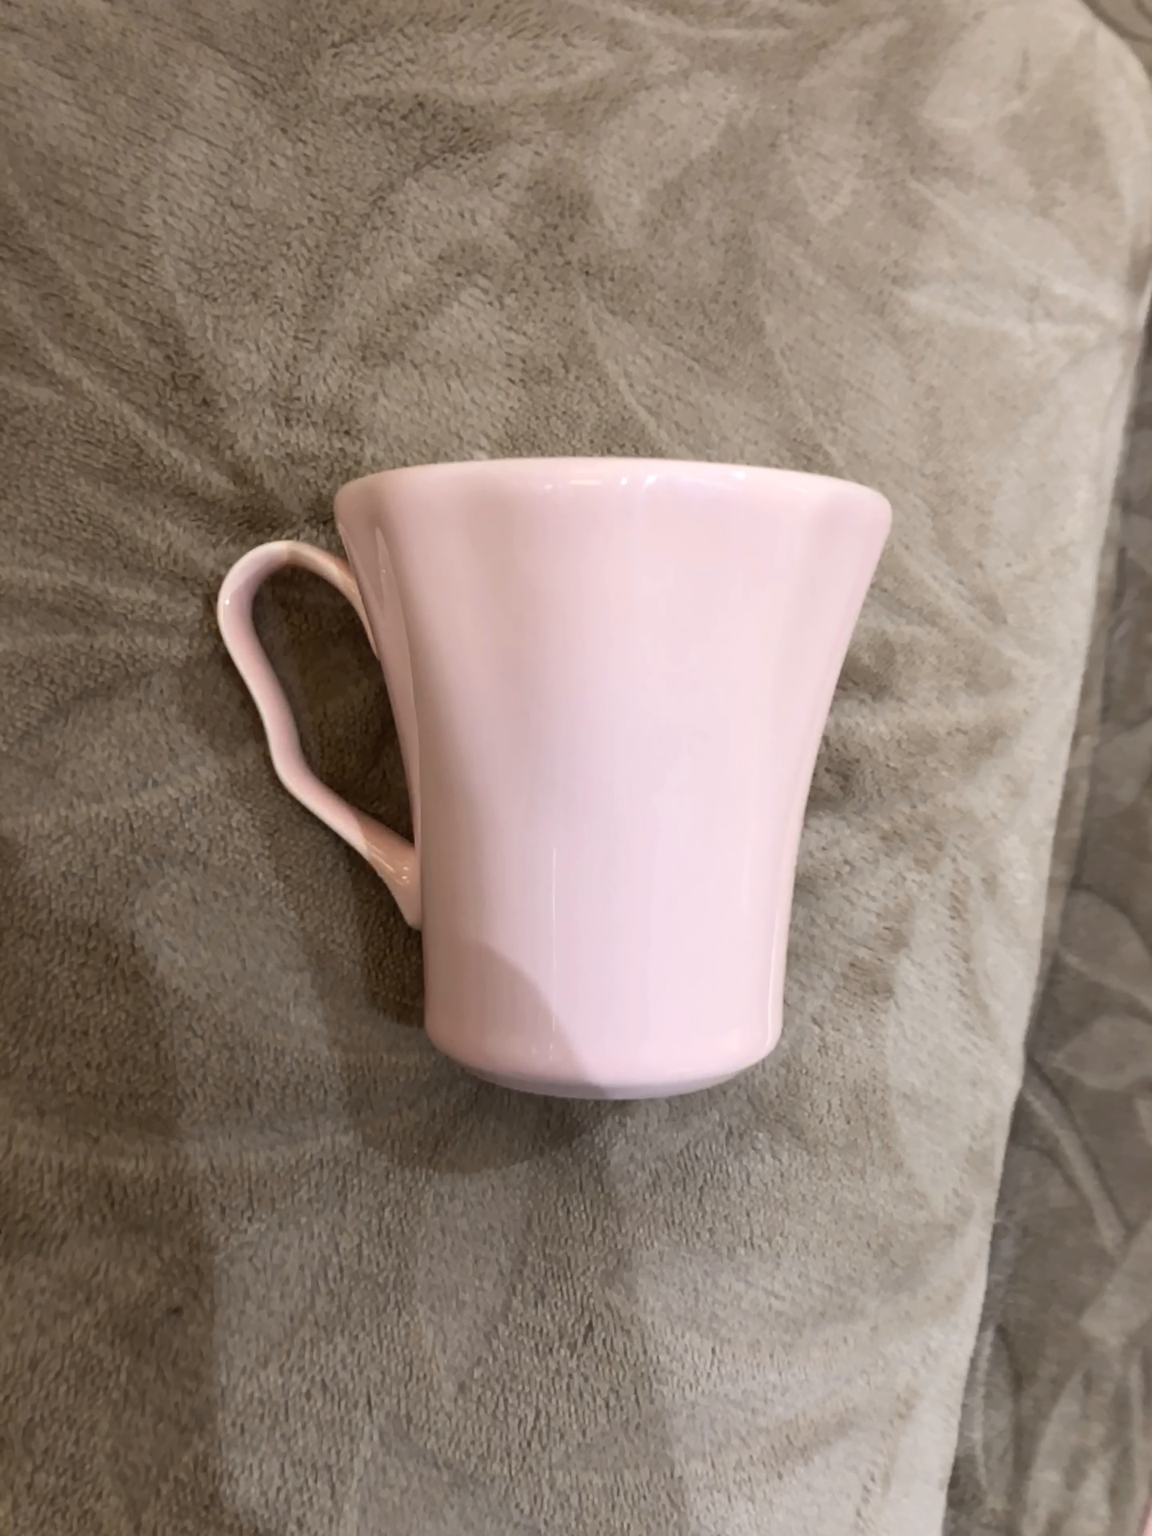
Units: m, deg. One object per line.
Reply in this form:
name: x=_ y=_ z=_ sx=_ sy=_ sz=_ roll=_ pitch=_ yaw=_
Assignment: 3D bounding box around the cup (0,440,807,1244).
cup: x=-0.018 y=0.008 z=0.188 sx=0.100 sy=0.070 sz=0.090 roll=0 pitch=92 yaw=11
